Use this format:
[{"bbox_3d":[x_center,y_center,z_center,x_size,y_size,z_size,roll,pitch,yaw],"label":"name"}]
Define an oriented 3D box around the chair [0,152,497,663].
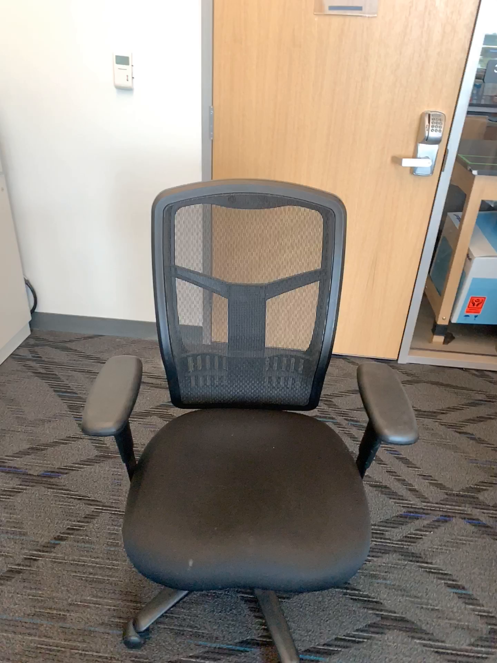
[{"bbox_3d":[0.000,0.189,1.187,0.660,0.992,0.726,5,30,3],"label":"chair"}]
